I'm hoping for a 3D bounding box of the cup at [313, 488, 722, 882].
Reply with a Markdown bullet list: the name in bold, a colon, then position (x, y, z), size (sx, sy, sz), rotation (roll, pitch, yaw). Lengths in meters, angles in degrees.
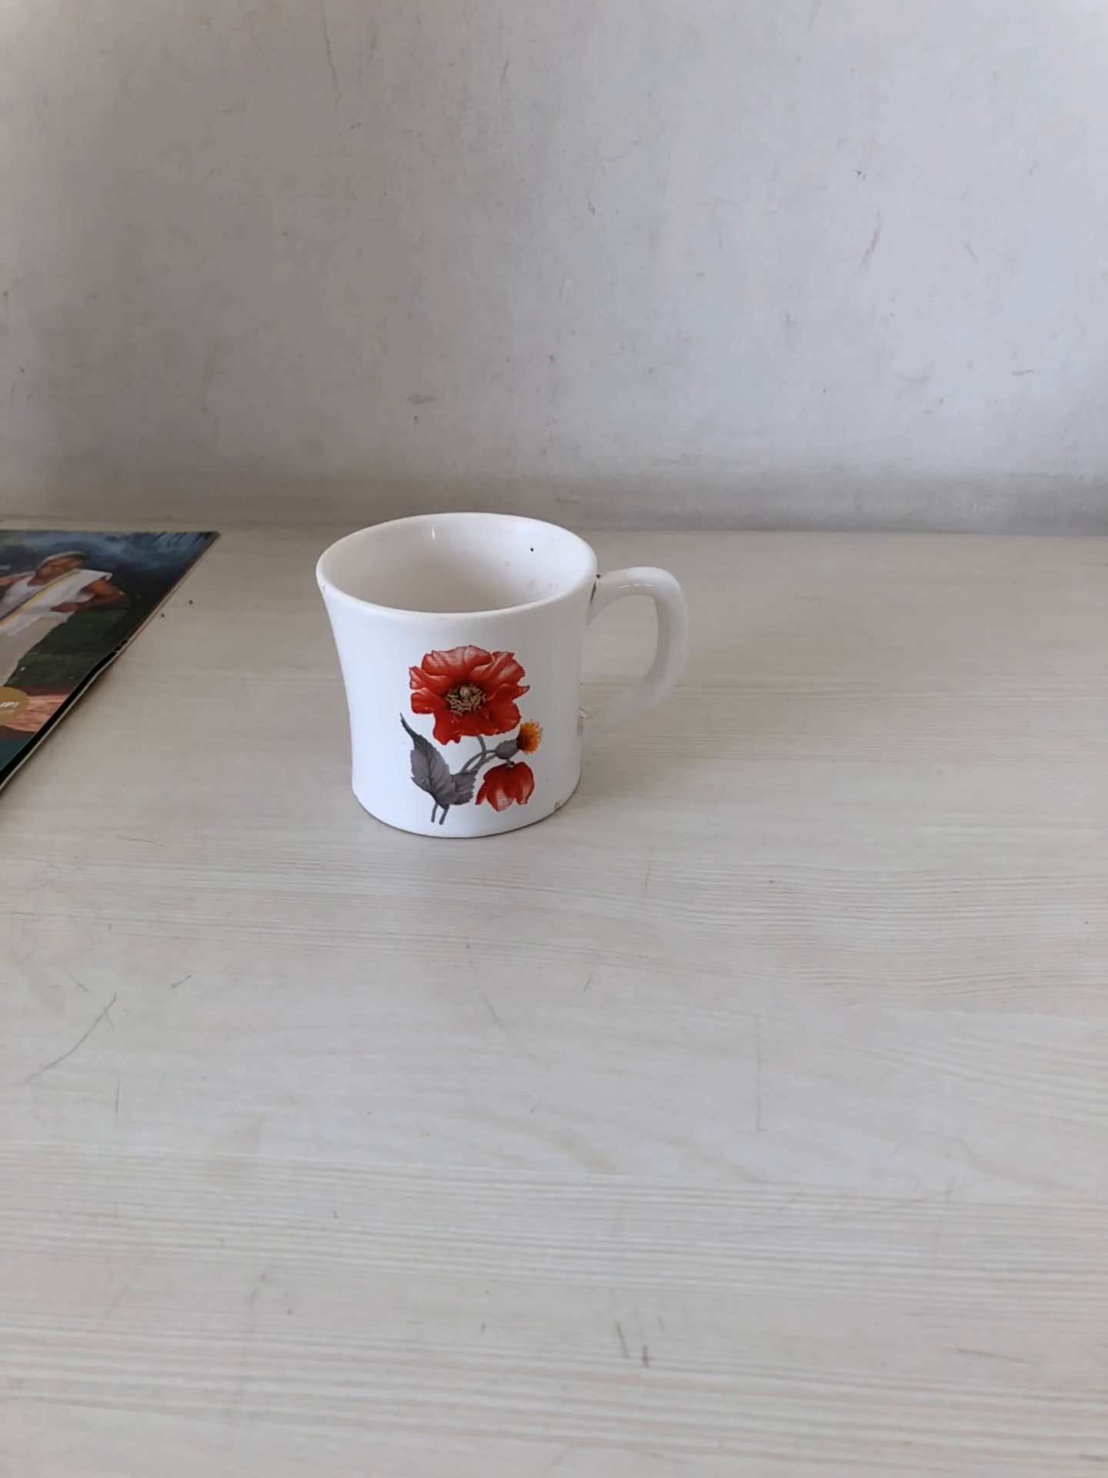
- **cup**: position (-0.012, -0.017, 0.317), size (0.090, 0.070, 0.070), rotation (-6, 29, -9)
